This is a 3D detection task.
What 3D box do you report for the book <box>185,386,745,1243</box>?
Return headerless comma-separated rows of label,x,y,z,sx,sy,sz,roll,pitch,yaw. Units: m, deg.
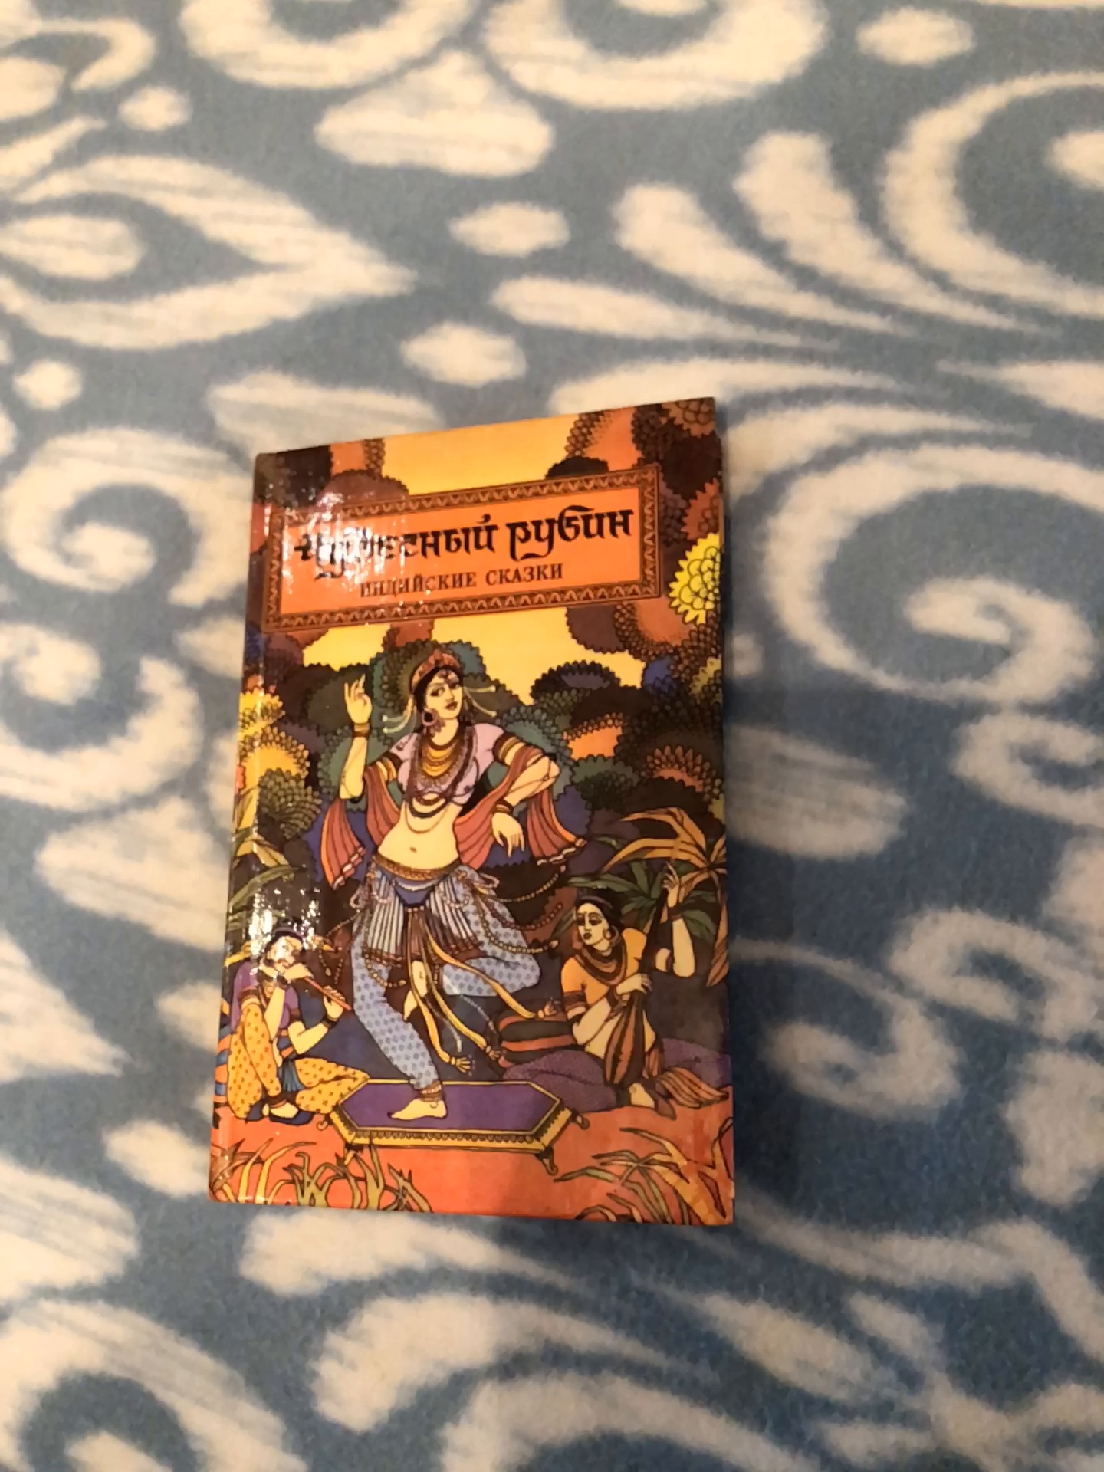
book,-0.023,0.018,0.331,0.139,0.027,0.210,-3,77,16
